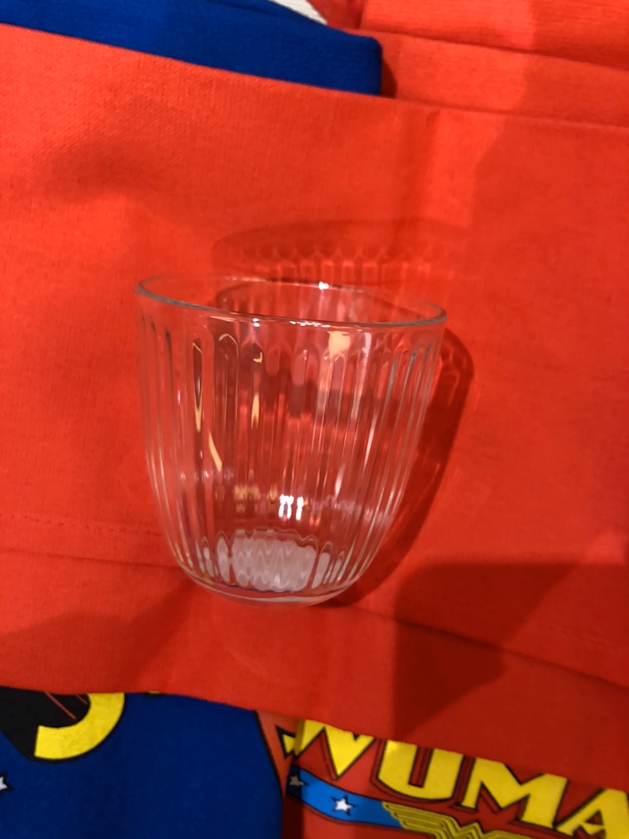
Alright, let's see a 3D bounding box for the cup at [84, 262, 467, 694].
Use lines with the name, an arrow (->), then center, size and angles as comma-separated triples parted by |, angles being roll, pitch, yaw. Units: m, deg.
cup -> -0.012, 0.012, 0.191 | 0.080, 0.060, 0.090 | 7, 110, 1
